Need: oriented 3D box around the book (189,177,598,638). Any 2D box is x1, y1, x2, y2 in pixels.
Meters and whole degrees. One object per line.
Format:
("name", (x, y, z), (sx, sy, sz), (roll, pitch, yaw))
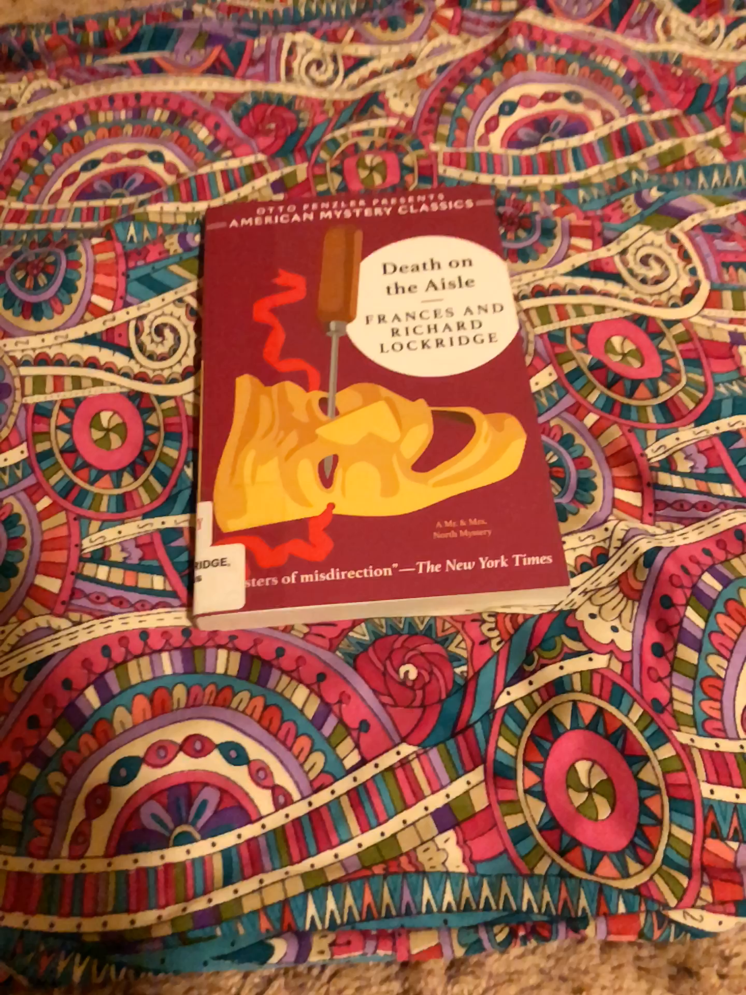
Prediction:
("book", (0.000, -0.047, 0.334), (0.137, 0.024, 0.196), (-4, 62, -1))
